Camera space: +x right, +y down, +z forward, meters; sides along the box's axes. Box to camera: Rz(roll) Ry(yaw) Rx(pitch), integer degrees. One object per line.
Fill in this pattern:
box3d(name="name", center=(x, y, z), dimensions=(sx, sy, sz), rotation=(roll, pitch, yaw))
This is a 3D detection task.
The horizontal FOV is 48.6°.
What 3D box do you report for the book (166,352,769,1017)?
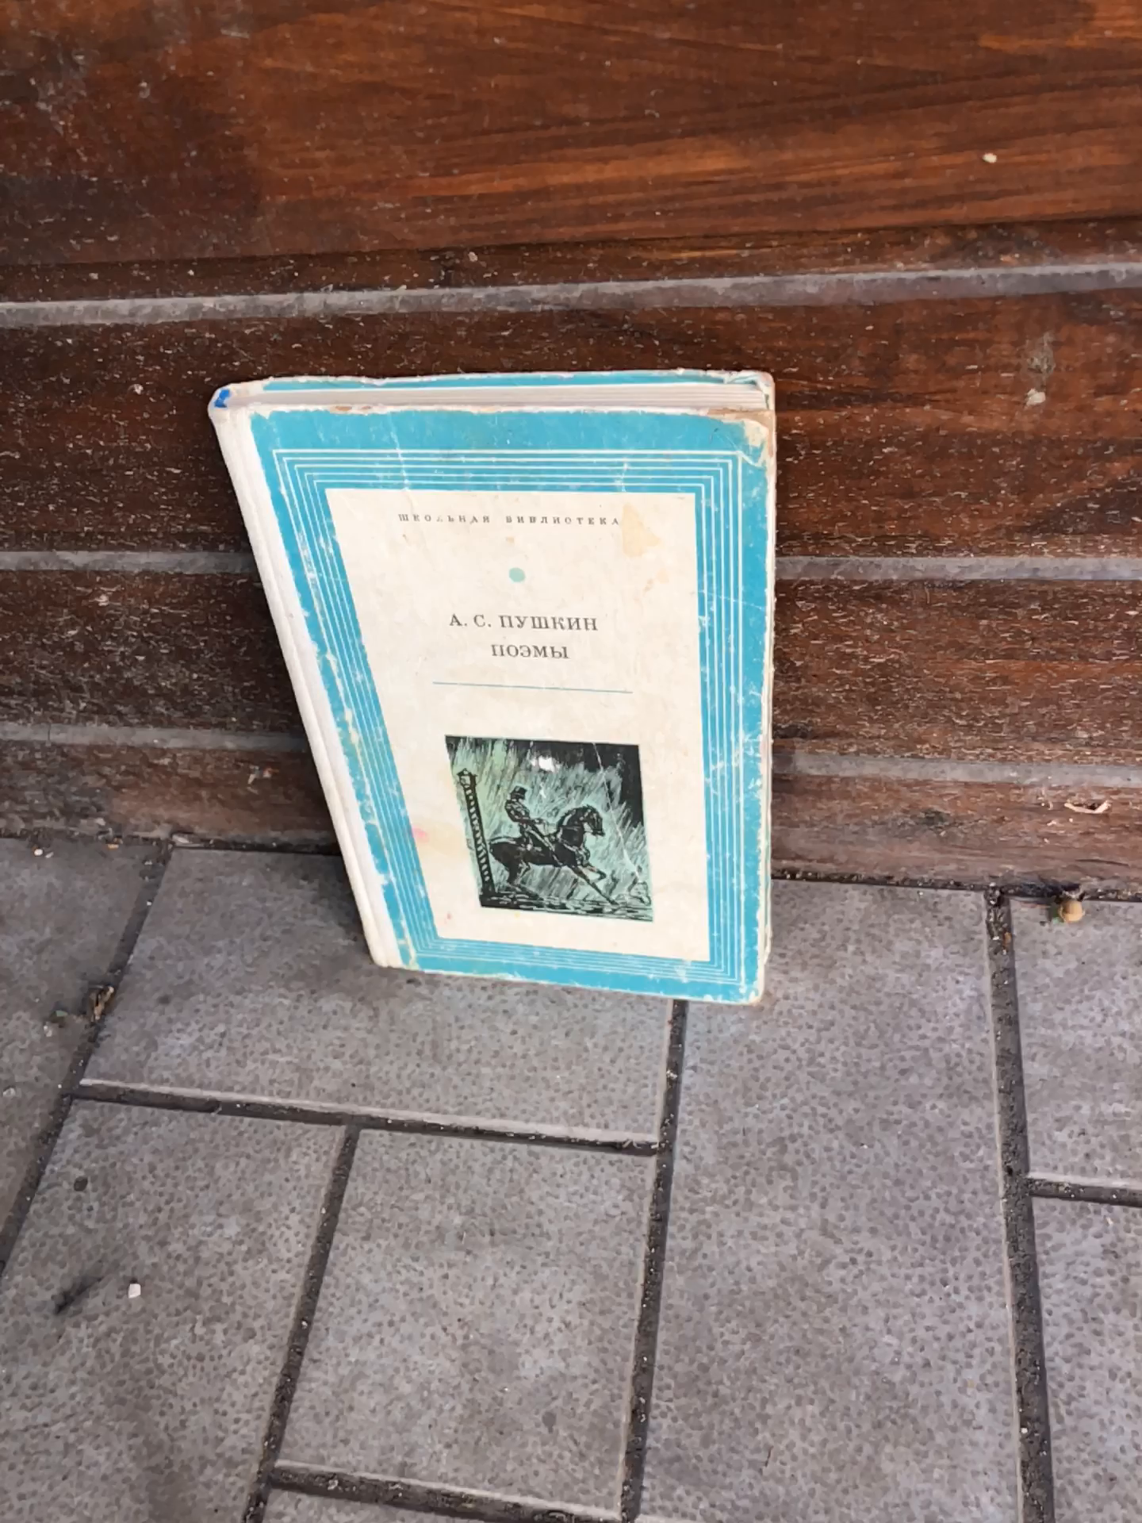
box3d(name="book", center=(-0.015, -0.011, 0.338), dimensions=(0.130, 0.189, 0.030), rotation=(3, 40, 12))
